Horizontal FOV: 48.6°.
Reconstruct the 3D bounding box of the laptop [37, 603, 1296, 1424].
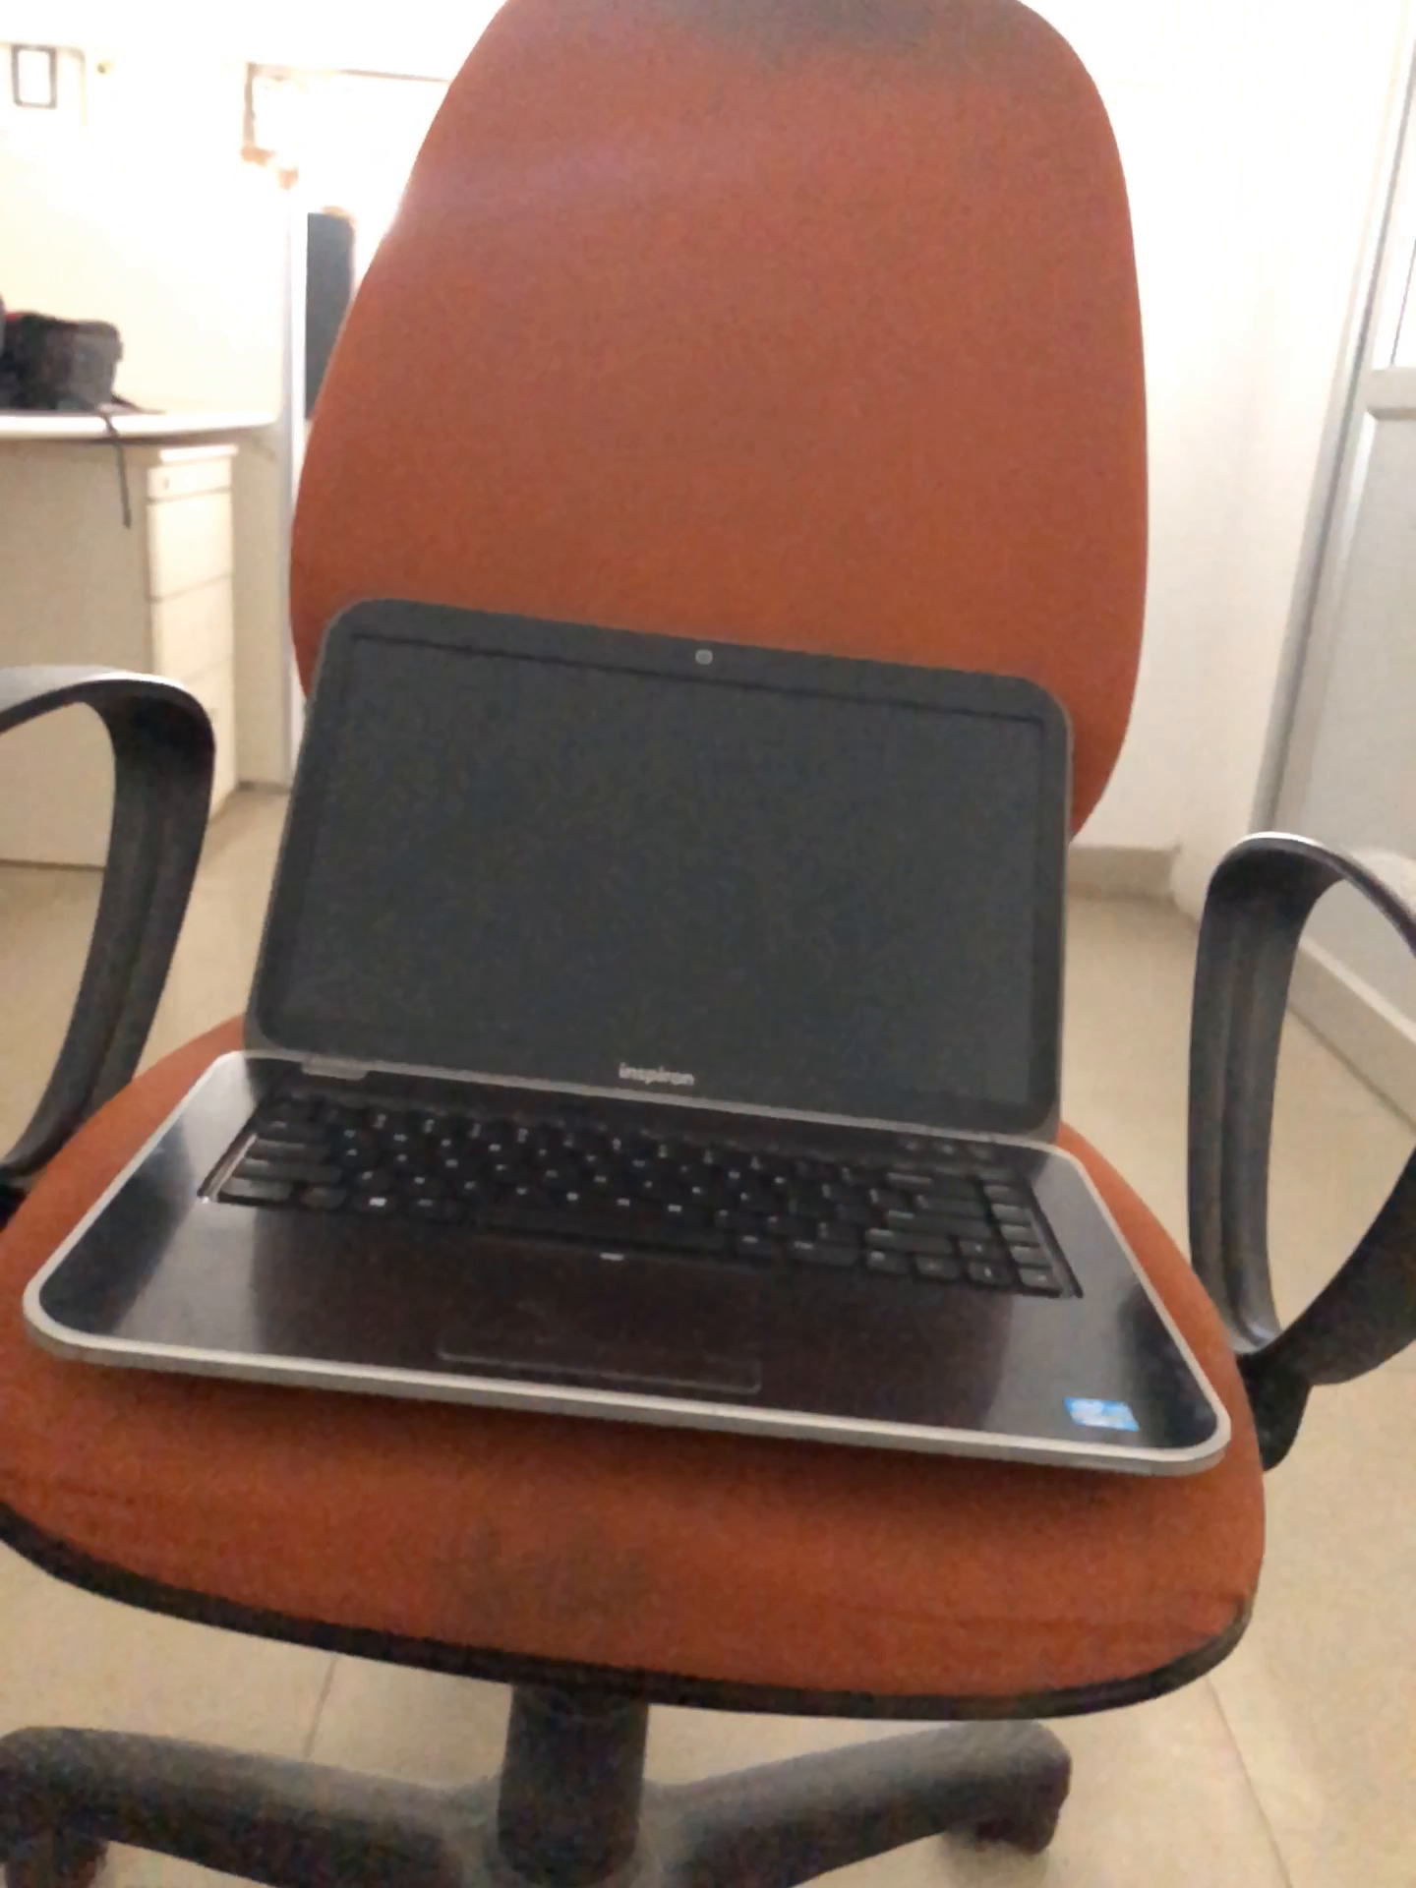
[{"bbox_3d":[-0.018,-0.010,0.629,0.352,0.173,0.352,5,19,0],"label":"laptop"}]
